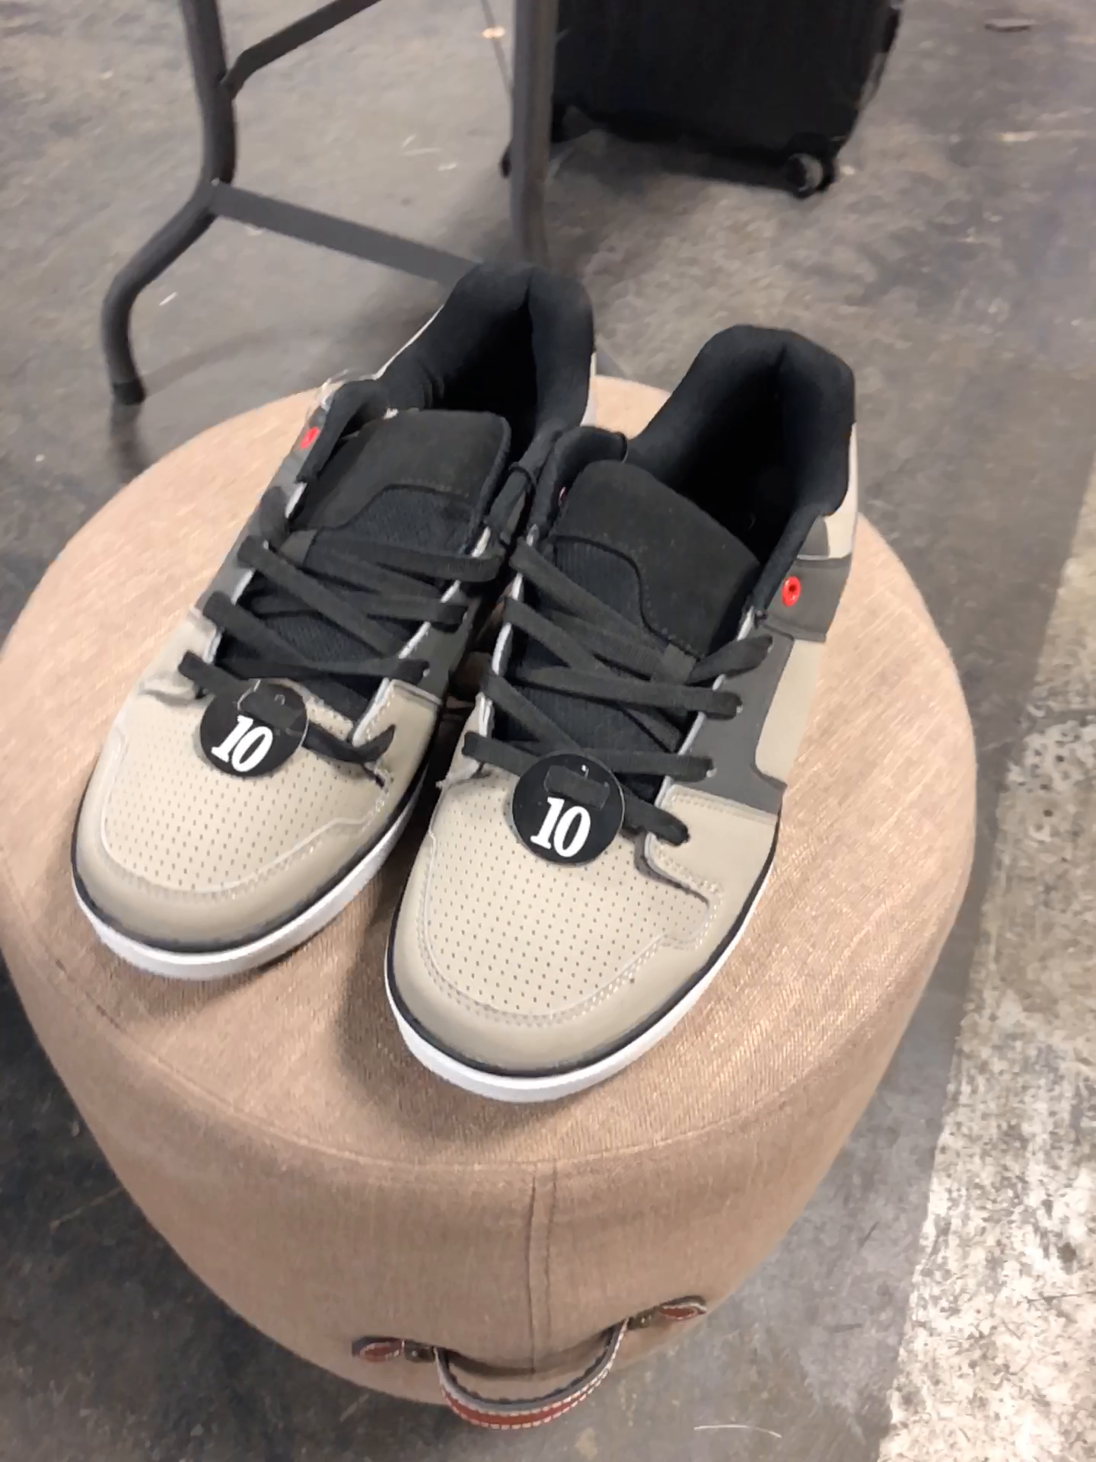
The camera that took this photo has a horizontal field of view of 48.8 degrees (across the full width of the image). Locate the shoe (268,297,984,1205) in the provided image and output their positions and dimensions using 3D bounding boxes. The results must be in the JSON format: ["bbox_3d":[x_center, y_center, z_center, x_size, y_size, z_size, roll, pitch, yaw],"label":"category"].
[{"bbox_3d":[0.041,-0.015,0.393,0.110,0.089,0.282,22,55,14],"label":"shoe"}]

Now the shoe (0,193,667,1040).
[{"bbox_3d":[-0.073,-0.059,0.409,0.120,0.089,0.282,22,55,14],"label":"shoe"}]
